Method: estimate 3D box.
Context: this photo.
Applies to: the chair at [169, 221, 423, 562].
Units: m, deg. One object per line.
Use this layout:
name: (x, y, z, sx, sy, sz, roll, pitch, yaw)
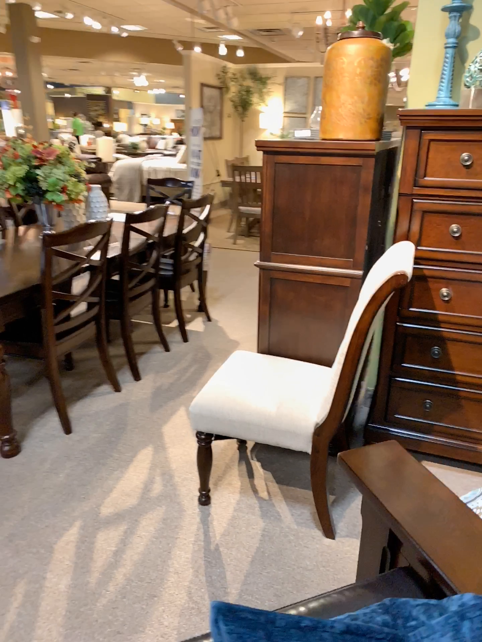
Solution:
chair: (0.210, 0.191, 1.789, 0.717, 0.950, 0.587, 8, 22, 18)
